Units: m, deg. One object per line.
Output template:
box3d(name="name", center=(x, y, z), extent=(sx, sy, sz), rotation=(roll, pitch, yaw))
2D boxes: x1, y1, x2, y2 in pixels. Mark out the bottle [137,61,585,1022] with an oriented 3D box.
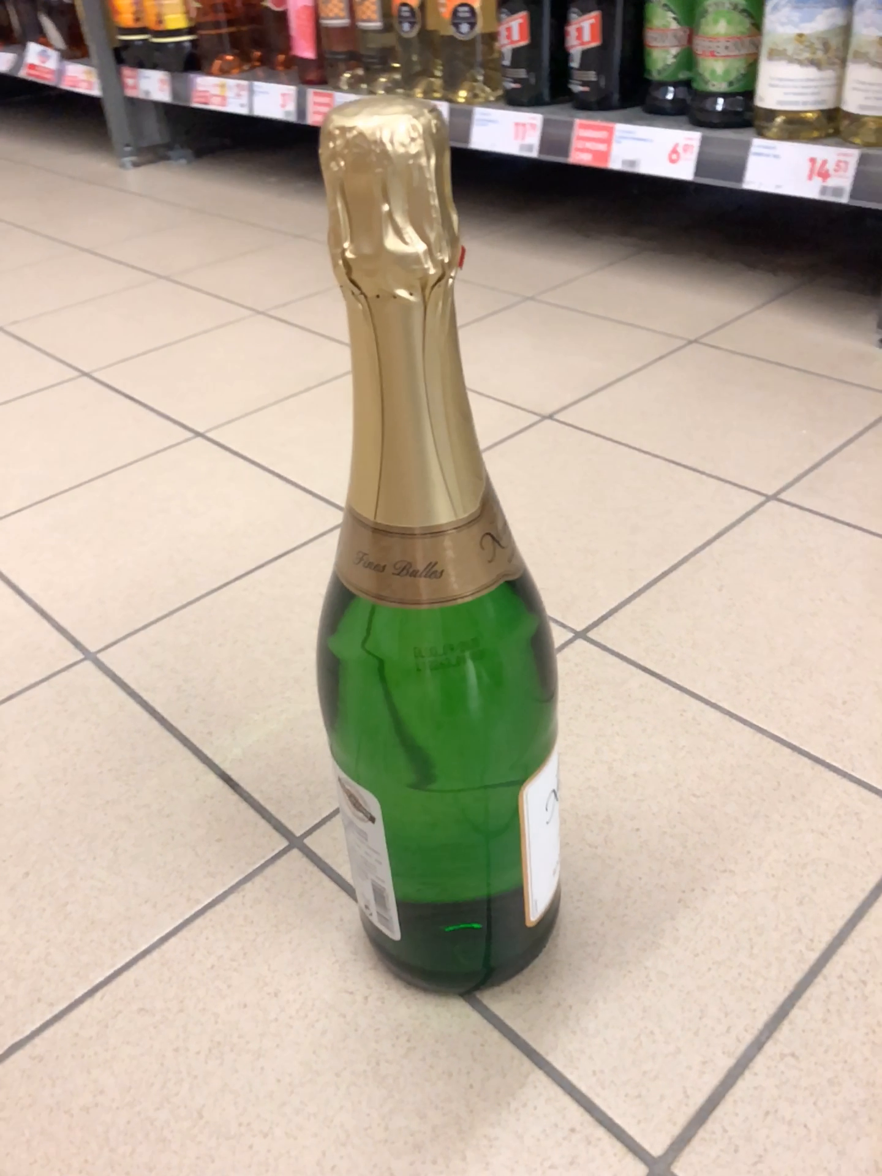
box3d(name="bottle", center=(-0.011, 0.005, 0.320), extent=(0.090, 0.298, 0.101), rotation=(-7, 34, -3))
